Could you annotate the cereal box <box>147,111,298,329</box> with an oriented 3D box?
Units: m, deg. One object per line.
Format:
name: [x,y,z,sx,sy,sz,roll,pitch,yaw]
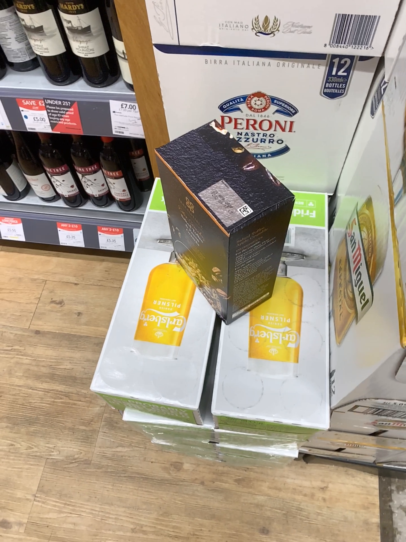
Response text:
cereal box: [0.019,-0.043,0.462,0.080,0.209,0.121,-31,63,-14]
